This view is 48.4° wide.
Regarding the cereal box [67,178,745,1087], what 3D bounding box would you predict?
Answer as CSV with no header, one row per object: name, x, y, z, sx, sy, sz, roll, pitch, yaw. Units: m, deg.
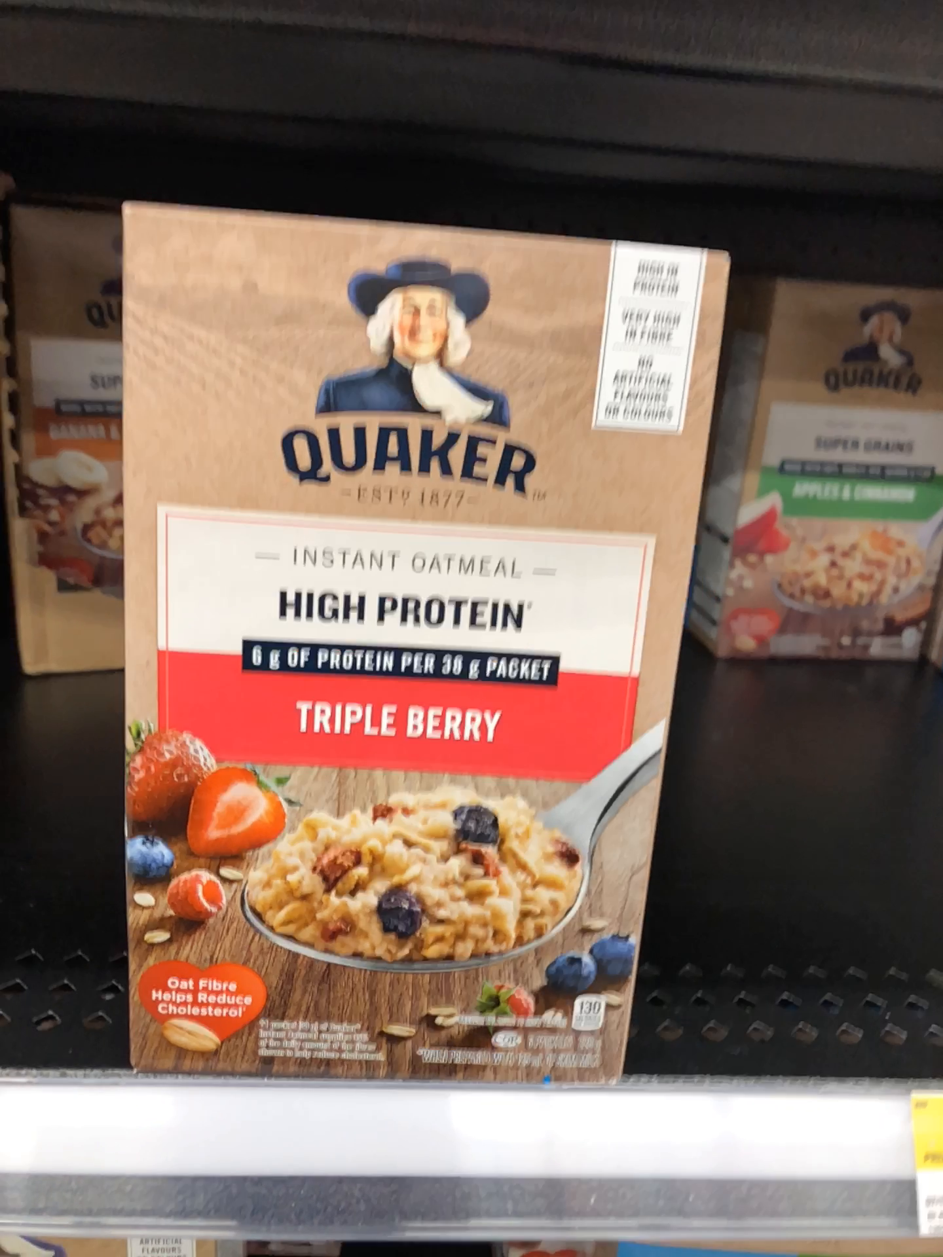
cereal box,-0.020,0.004,0.262,0.130,0.199,0.070,3,16,-4
